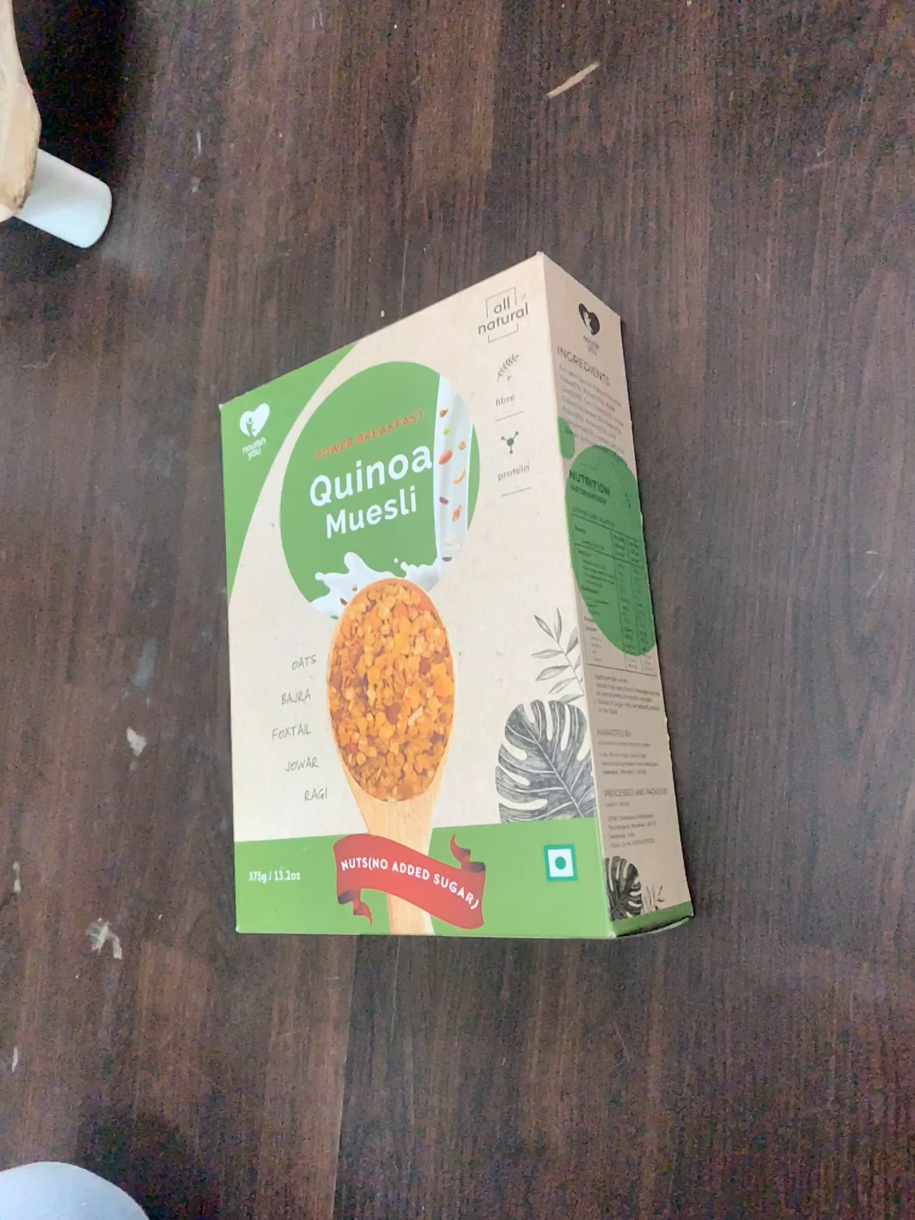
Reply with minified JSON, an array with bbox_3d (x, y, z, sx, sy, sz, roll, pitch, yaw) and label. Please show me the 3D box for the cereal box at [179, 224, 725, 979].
[{"bbox_3d":[-0.015,0.009,0.335,0.171,0.070,0.210,-13,77,37],"label":"cereal box"}]
